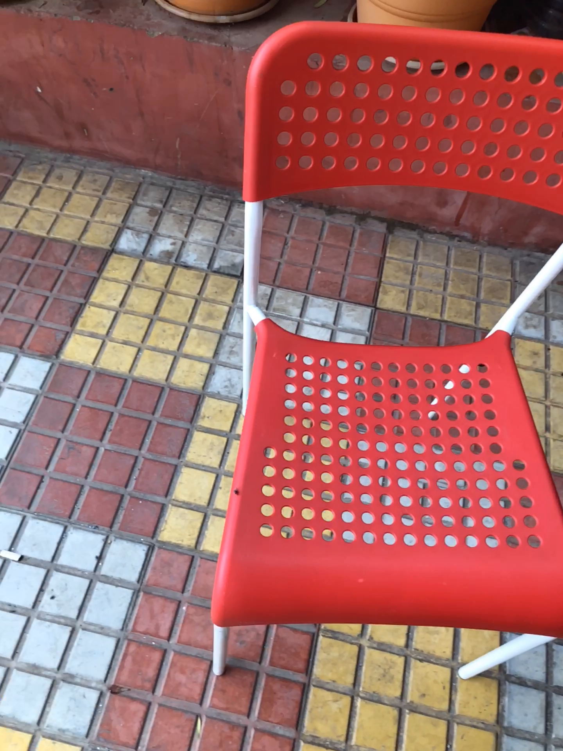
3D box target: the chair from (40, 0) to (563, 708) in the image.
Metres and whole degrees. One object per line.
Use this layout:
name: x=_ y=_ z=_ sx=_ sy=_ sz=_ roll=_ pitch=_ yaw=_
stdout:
chair: x=0.102 y=0.059 z=0.730 sx=0.450 sy=0.697 sz=0.542 roll=4 pitch=59 yaw=-2
